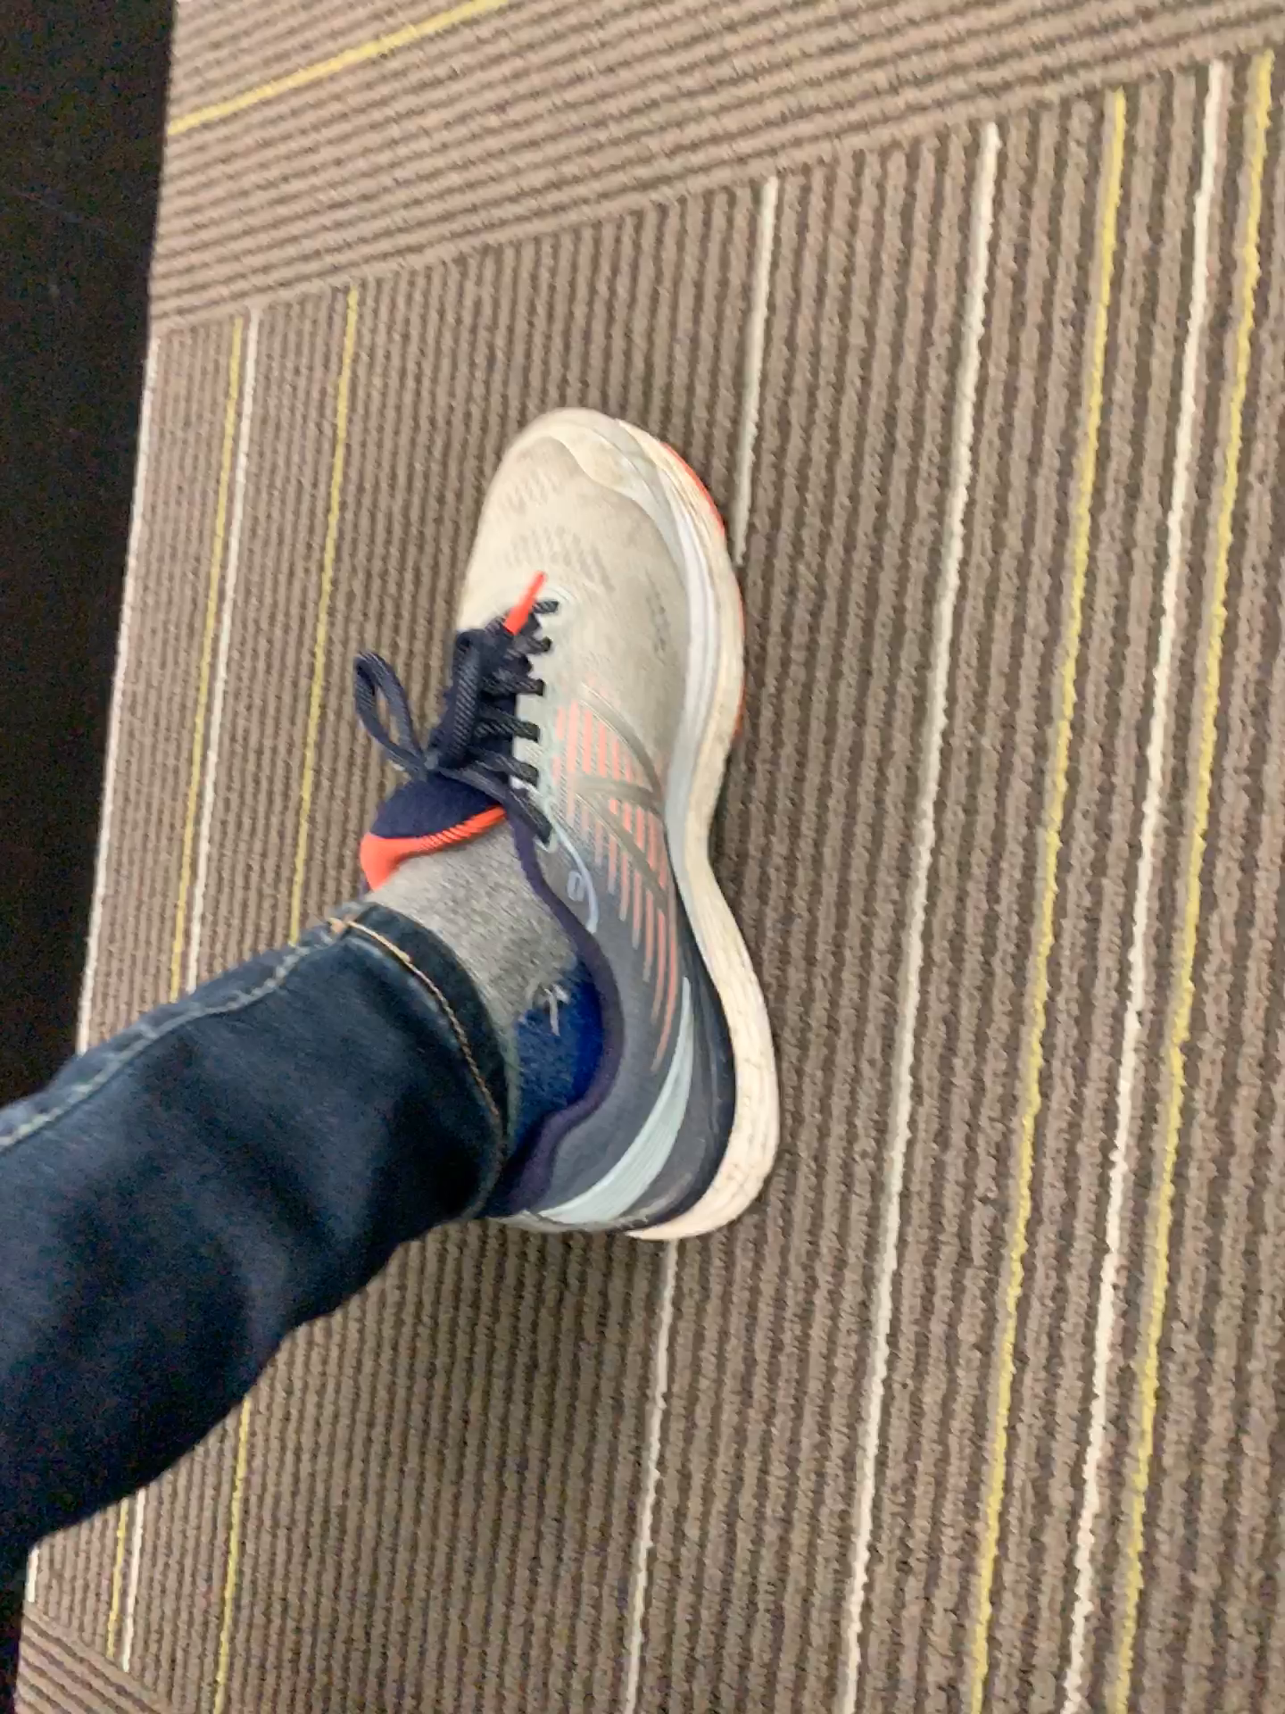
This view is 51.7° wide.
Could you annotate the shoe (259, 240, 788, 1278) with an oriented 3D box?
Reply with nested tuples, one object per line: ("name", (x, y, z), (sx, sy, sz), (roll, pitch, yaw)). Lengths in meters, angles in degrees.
("shoe", (-0.039, -0.021, 0.405), (0.111, 0.089, 0.270), (-10, 81, 35))
